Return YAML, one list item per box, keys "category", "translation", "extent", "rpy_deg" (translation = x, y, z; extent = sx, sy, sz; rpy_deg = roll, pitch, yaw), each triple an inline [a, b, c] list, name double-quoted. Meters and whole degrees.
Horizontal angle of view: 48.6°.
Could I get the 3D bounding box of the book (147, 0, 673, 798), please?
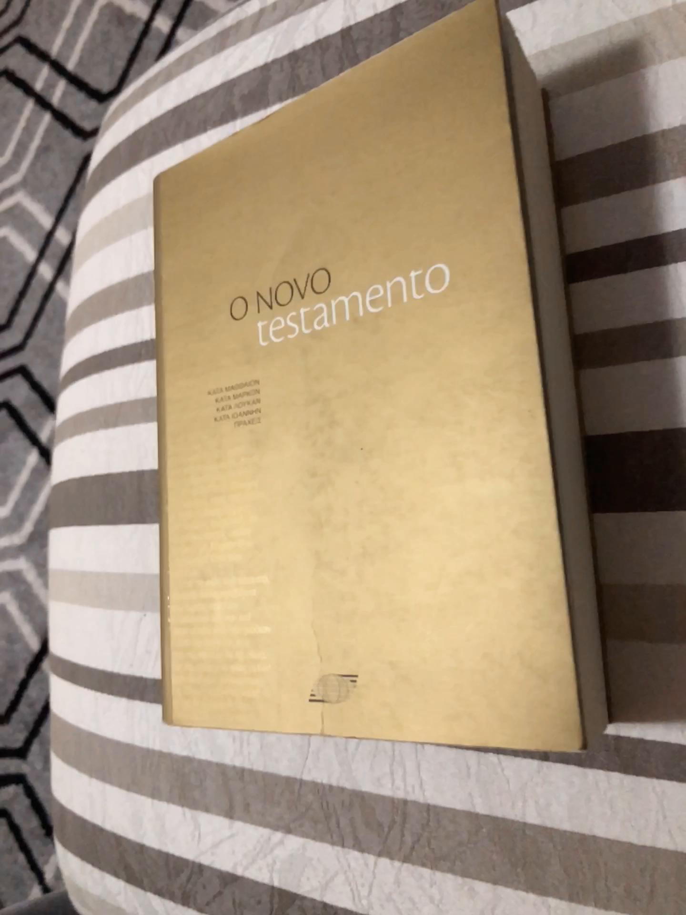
- category: "book"
  translation: [0.009, -0.021, 0.261]
  extent: [0.161, 0.050, 0.230]
  rpy_deg: [-9, 78, 32]
